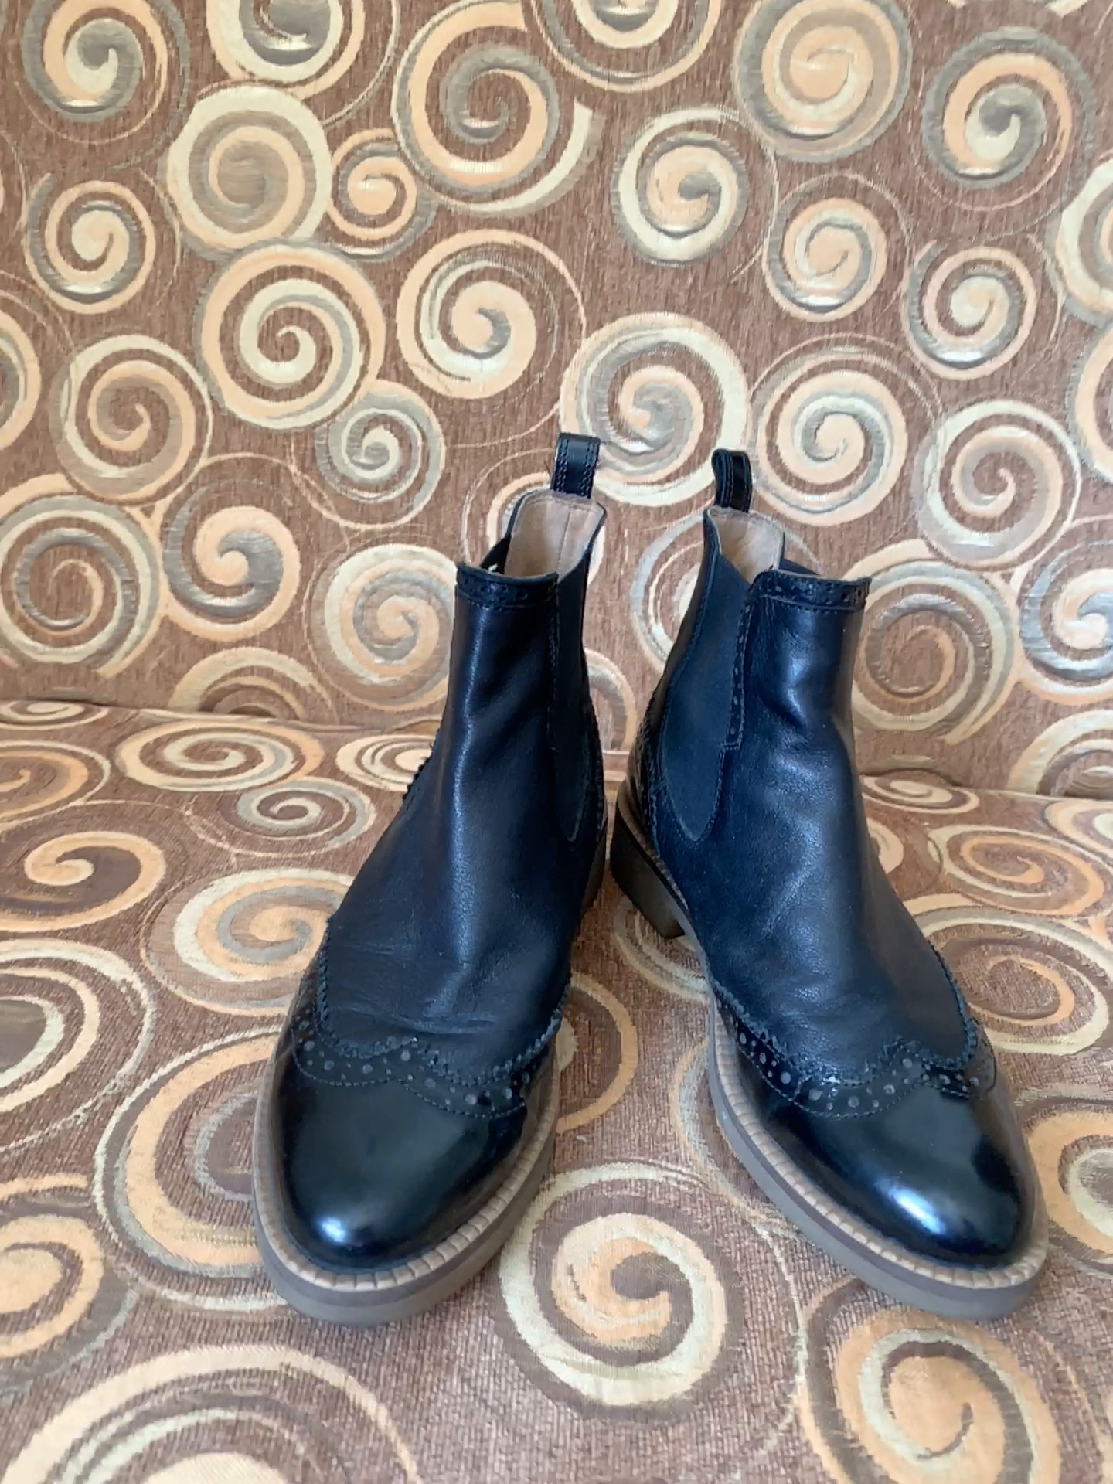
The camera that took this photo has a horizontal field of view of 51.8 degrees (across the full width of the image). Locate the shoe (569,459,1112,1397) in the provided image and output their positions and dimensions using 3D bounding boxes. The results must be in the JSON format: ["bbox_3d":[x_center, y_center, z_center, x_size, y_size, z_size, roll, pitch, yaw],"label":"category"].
[{"bbox_3d":[0.093,0.020,0.372,0.100,0.139,0.292,-3,31,-14],"label":"shoe"}]

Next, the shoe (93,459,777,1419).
[{"bbox_3d":[-0.009,0.025,0.333,0.100,0.139,0.241,11,30,11],"label":"shoe"}]
